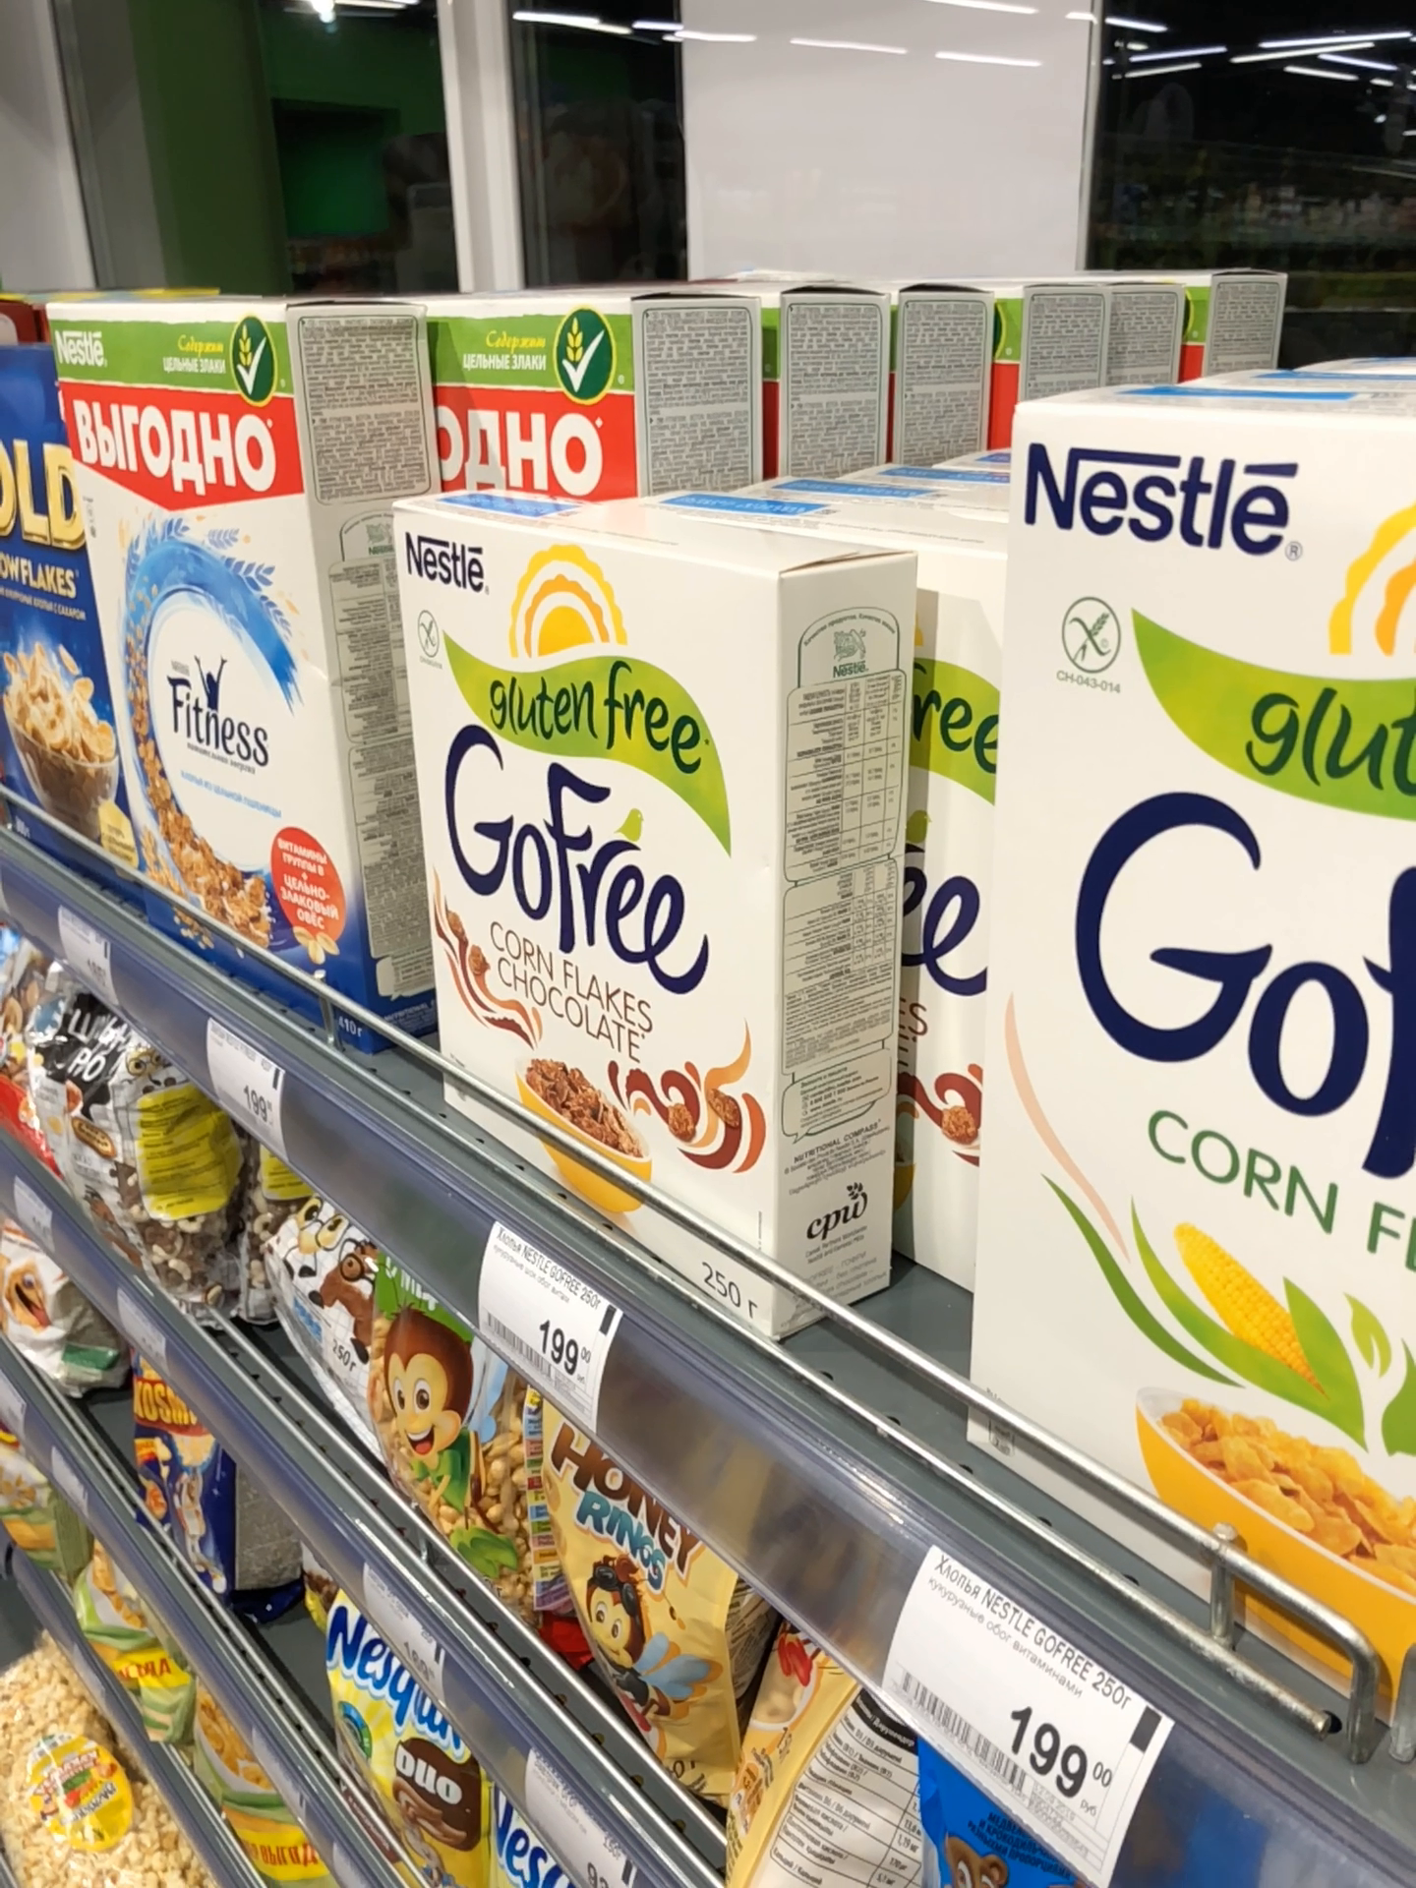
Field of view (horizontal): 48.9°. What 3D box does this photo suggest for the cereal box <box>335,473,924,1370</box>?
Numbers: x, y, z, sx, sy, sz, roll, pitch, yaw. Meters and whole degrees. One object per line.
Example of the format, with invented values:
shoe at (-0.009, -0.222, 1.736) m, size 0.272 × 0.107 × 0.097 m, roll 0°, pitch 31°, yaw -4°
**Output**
cereal box at (-0.032, -0.021, 0.477) m, size 0.060 × 0.219 × 0.201 m, roll -16°, pitch 27°, yaw -35°
